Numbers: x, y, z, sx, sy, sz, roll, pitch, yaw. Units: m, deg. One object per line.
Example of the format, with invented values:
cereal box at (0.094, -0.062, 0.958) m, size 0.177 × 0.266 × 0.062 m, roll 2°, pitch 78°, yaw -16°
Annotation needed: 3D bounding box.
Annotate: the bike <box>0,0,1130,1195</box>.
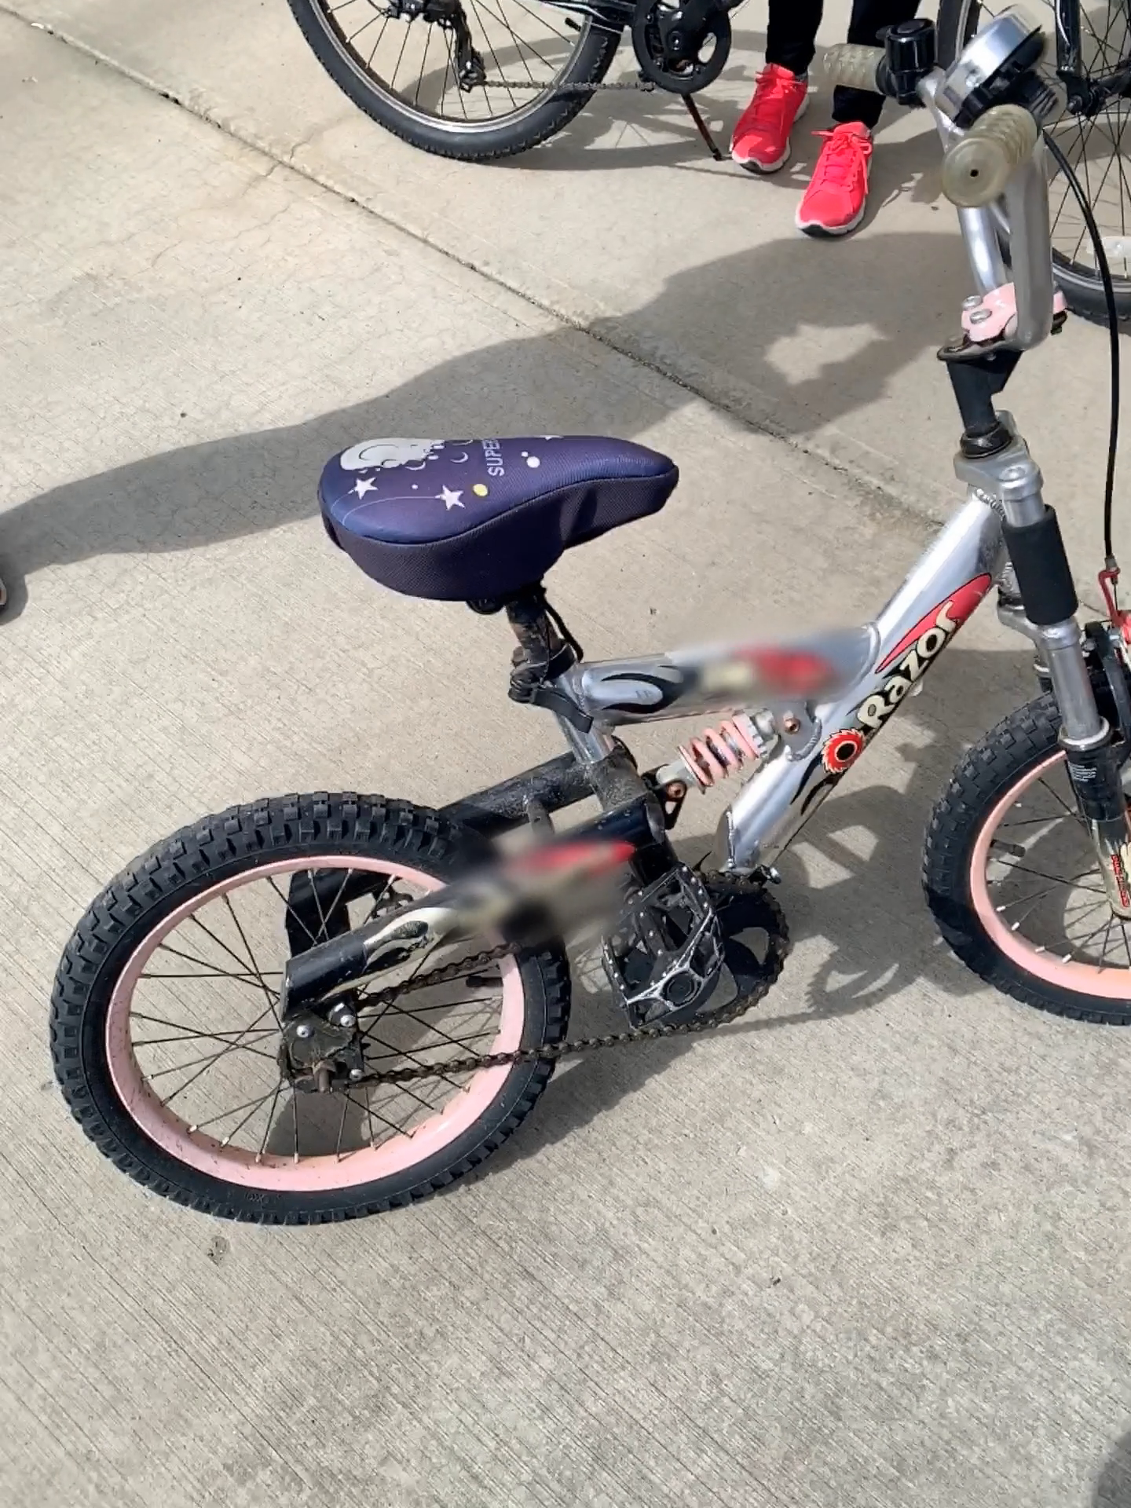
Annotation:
bike at (0.161, -0.101, 0.854) m, size 1.122 × 0.692 × 0.359 m, roll -11°, pitch 55°, yaw -12°
